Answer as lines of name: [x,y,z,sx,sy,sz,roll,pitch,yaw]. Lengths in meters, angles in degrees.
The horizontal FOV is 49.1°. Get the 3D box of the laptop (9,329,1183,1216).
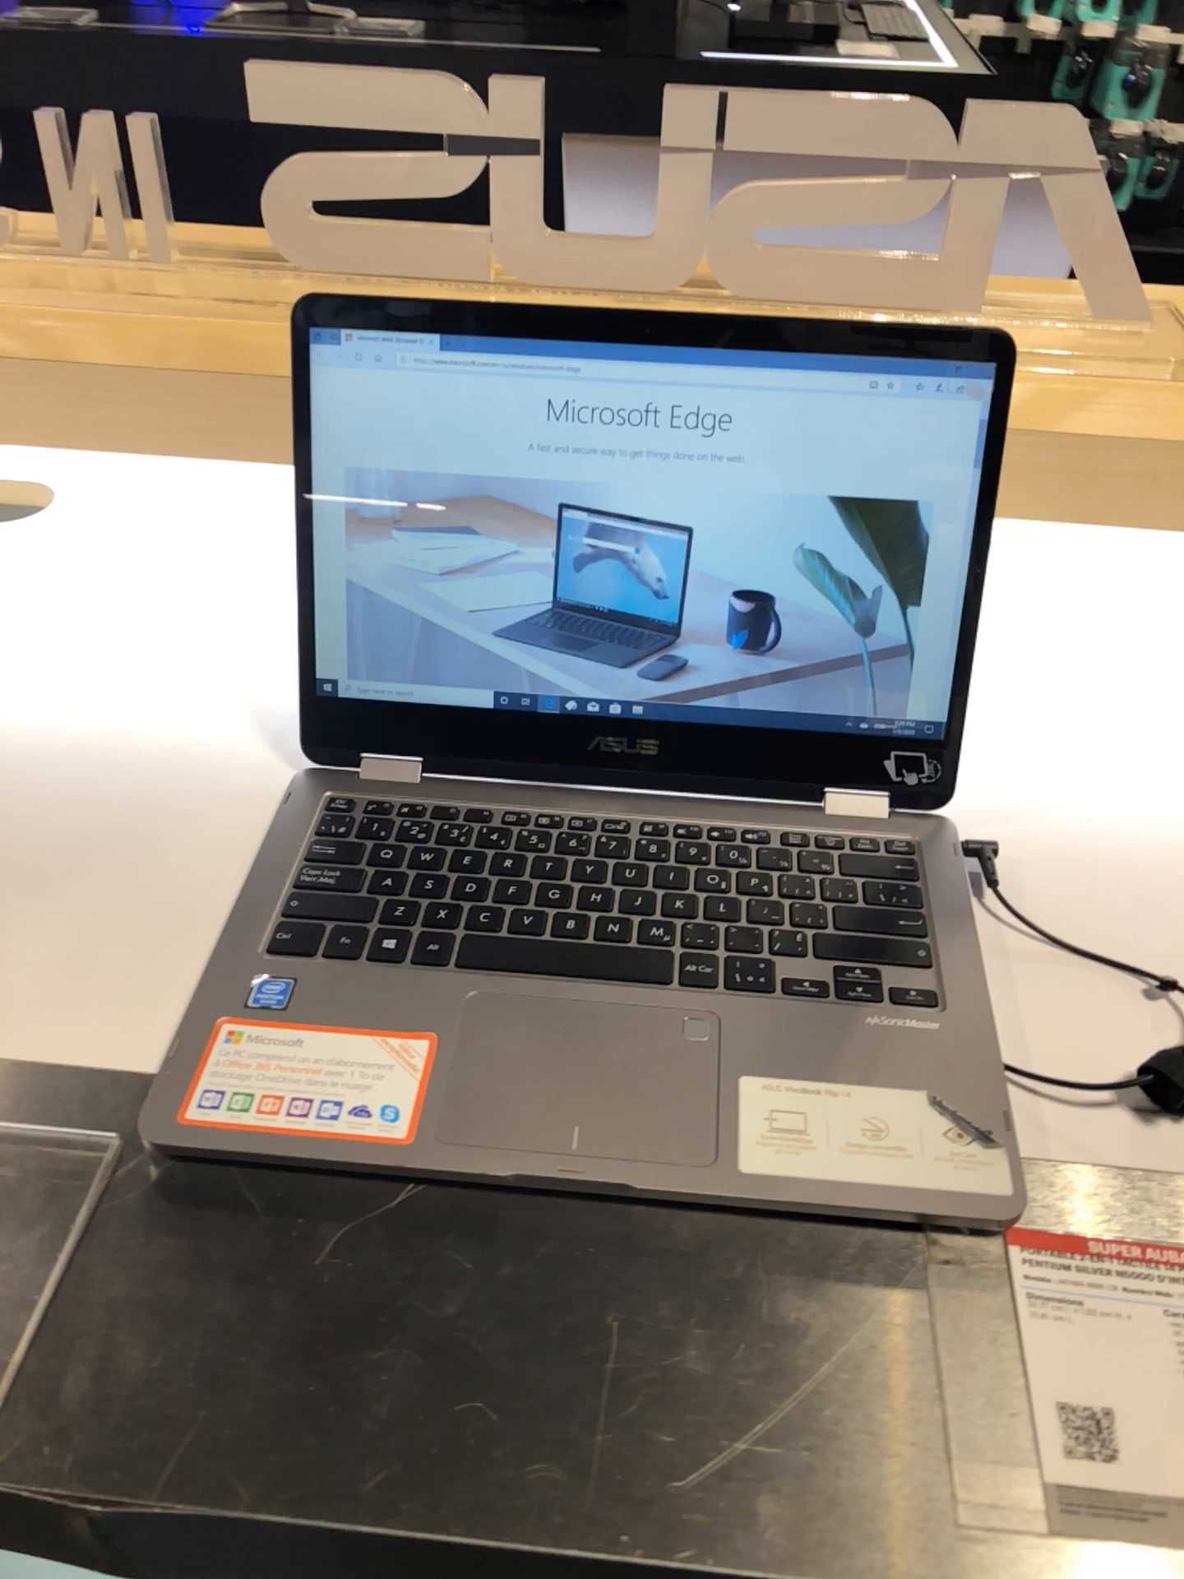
laptop: [0.012,-0.029,0.499,0.304,0.212,0.279,4,35,5]
